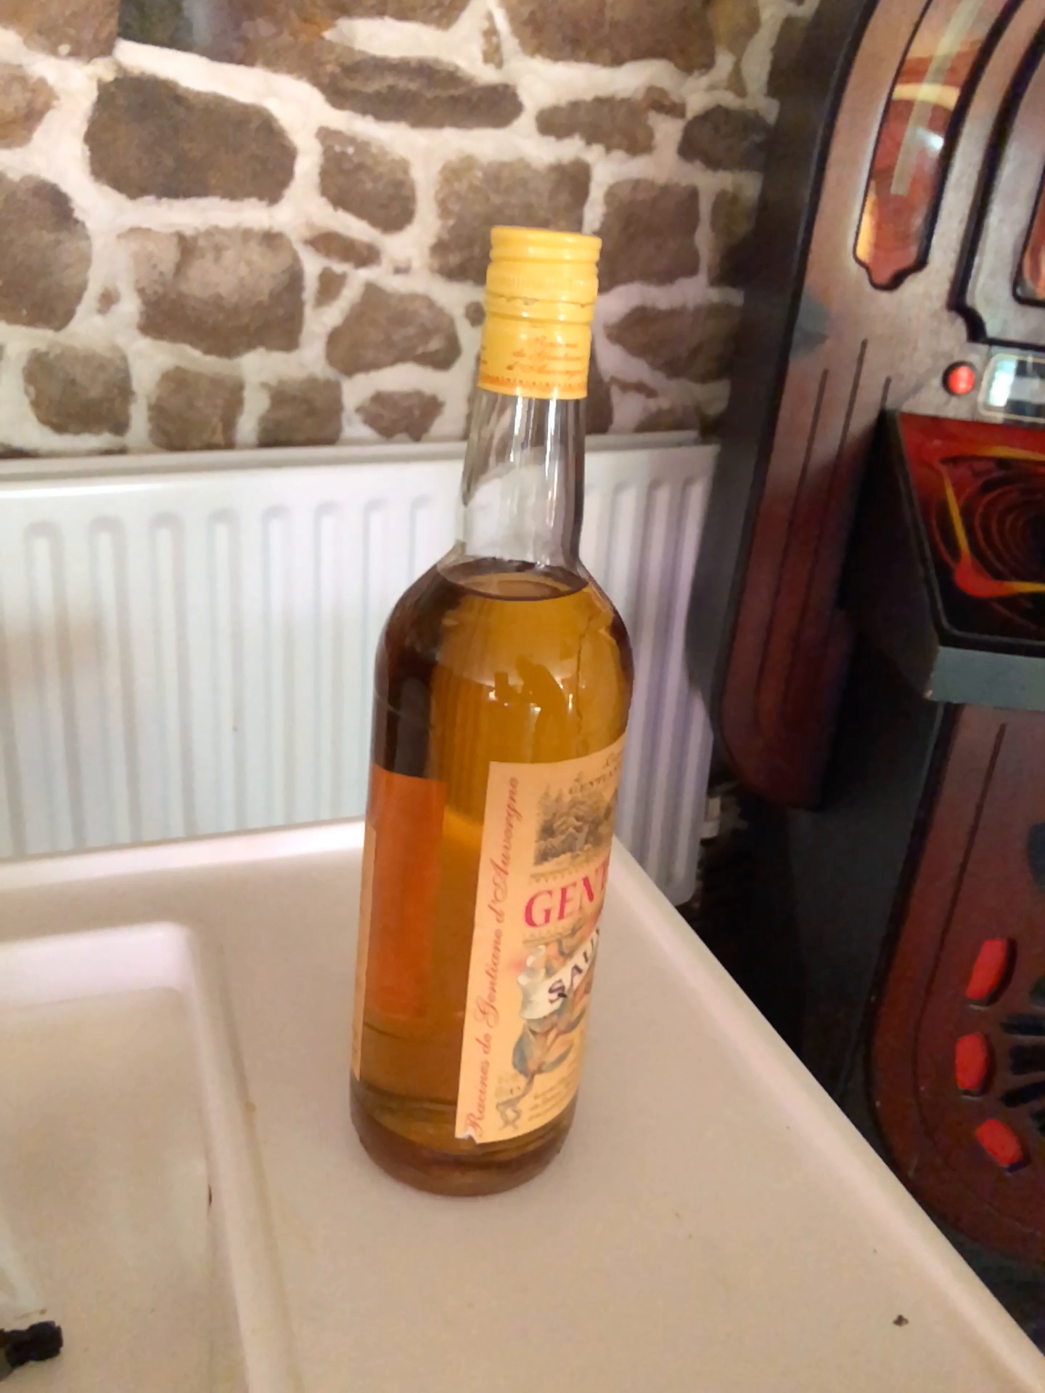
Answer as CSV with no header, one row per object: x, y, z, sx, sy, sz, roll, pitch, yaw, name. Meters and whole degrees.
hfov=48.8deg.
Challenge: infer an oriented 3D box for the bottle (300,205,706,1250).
-0.010,0.013,0.359,0.080,0.298,0.091,11,23,17,bottle
